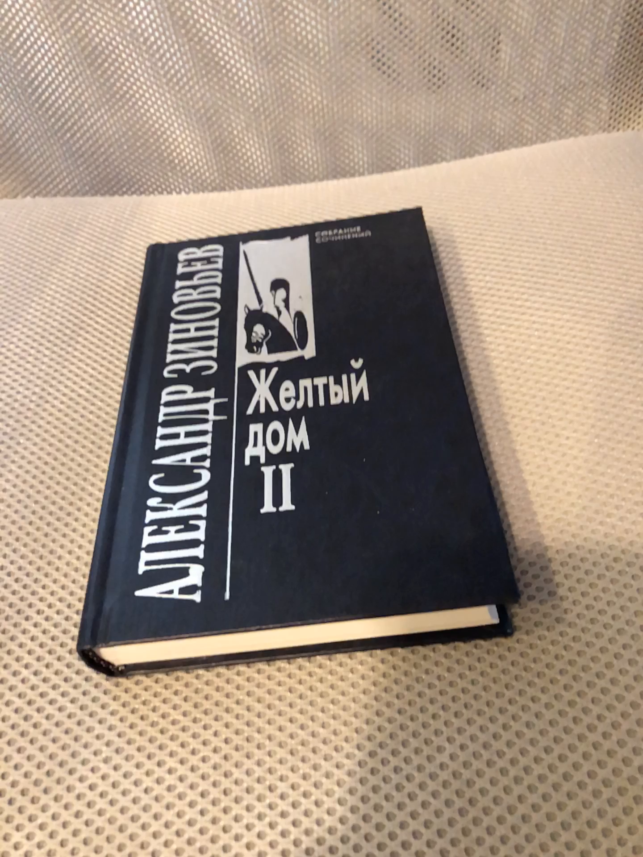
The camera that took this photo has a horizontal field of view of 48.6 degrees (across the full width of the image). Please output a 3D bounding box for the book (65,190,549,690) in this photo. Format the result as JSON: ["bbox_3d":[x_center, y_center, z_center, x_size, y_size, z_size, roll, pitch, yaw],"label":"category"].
[{"bbox_3d":[-0.009,-0.014,0.283,0.140,0.030,0.212,-7,50,3],"label":"book"}]
